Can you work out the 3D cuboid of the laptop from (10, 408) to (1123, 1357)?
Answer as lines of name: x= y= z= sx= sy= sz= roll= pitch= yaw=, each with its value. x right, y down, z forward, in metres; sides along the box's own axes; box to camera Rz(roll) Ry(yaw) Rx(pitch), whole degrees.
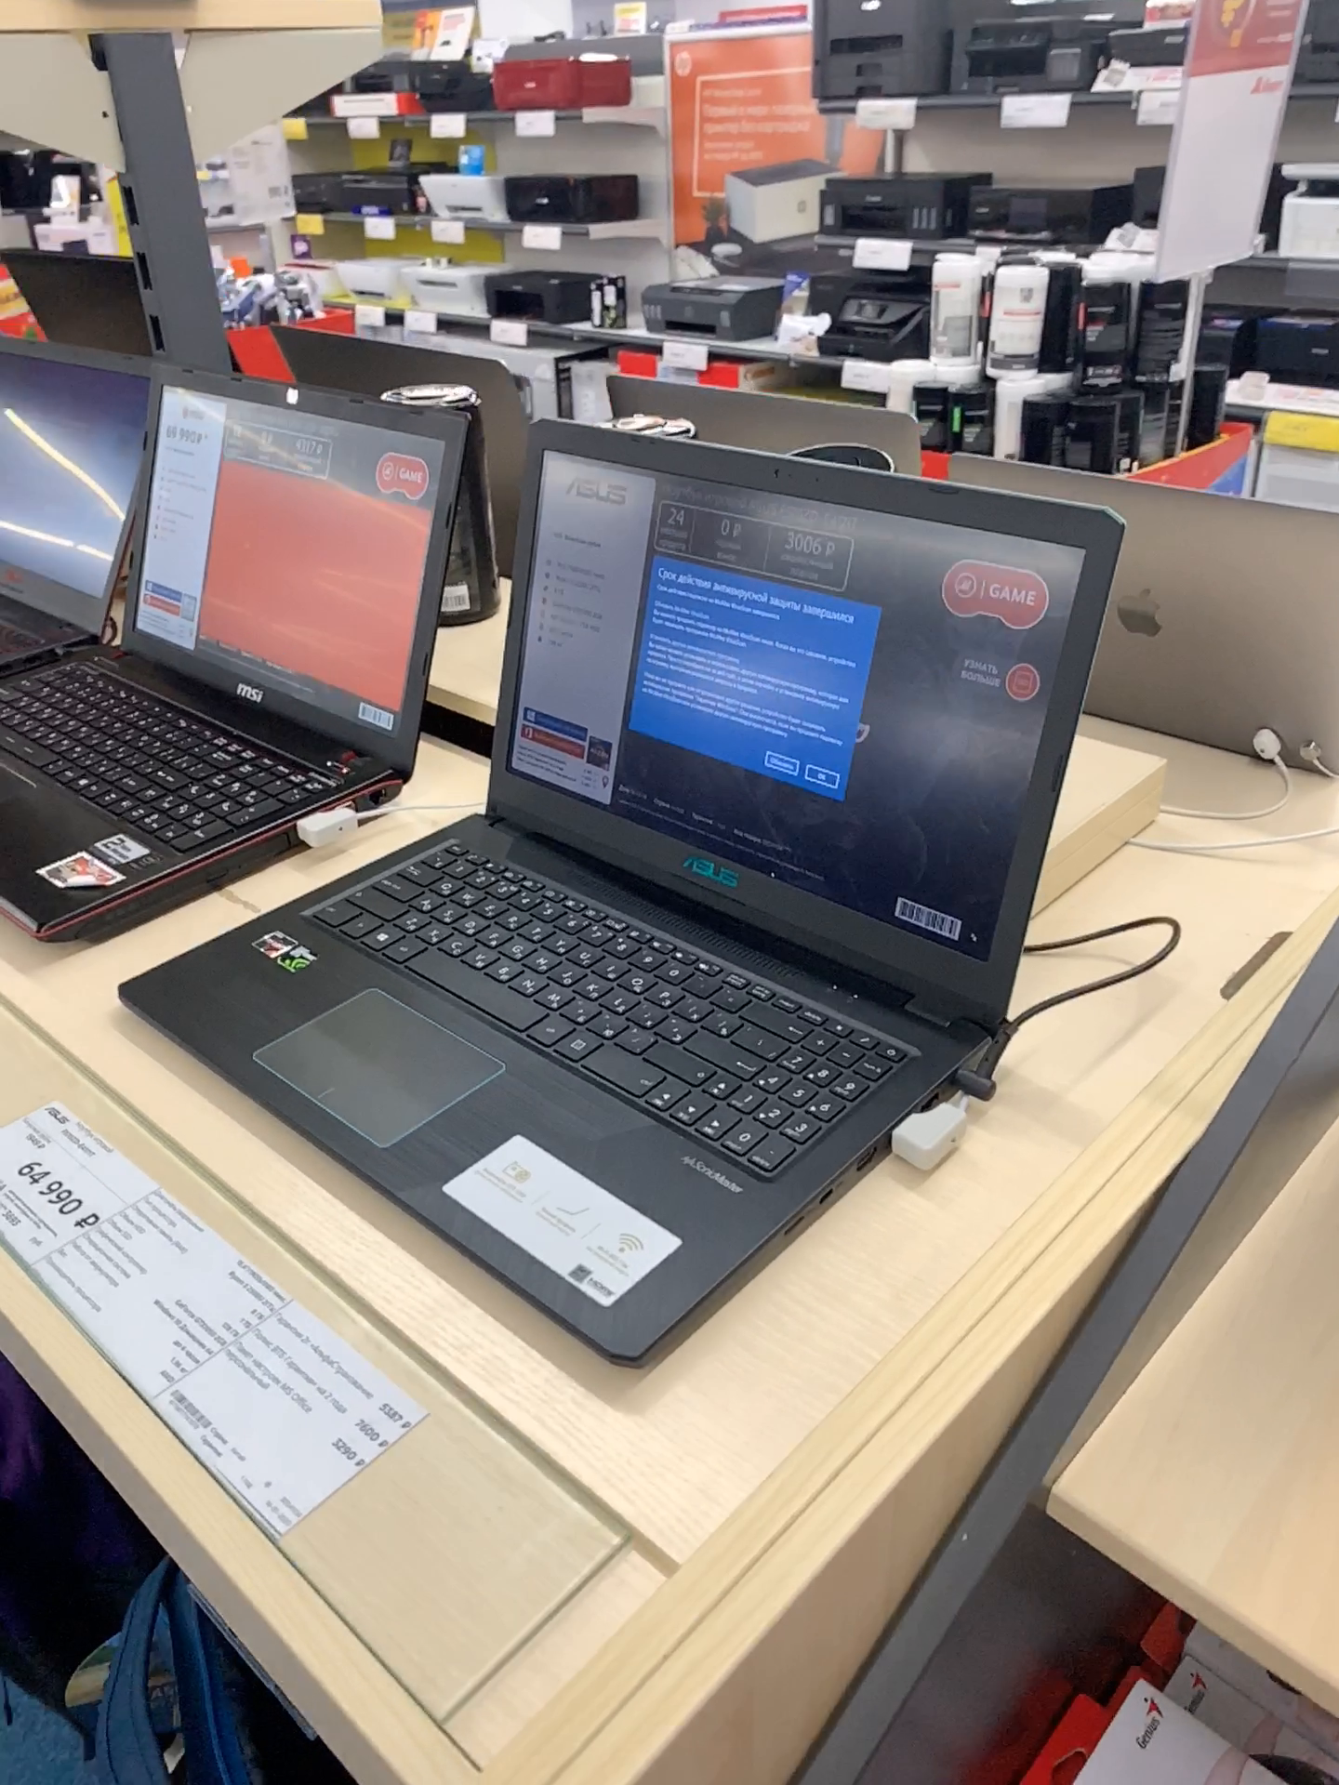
laptop: x=-0.044 y=-0.058 z=0.634 sx=0.359 sy=0.222 sz=0.318 roll=23 pitch=39 yaw=37
